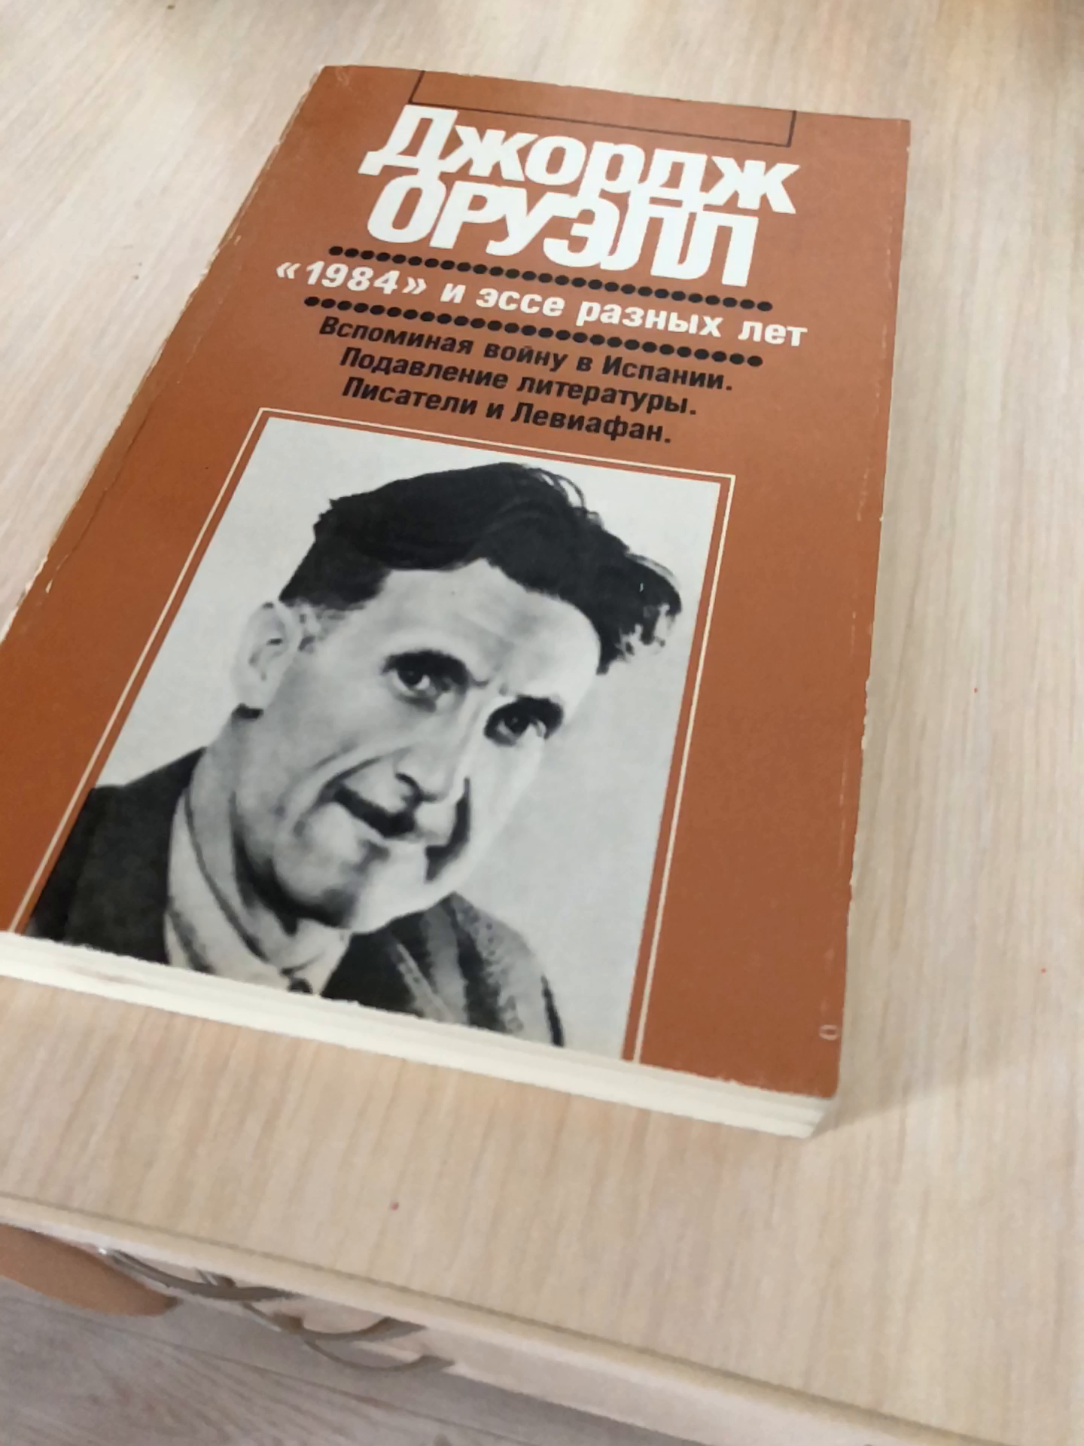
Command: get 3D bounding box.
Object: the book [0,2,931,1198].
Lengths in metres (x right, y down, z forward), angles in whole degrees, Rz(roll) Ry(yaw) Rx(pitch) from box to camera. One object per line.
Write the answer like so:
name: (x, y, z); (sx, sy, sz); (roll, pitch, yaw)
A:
book: (-0.007, -0.045, 0.206); (0.130, 0.040, 0.211); (9, 57, 7)
